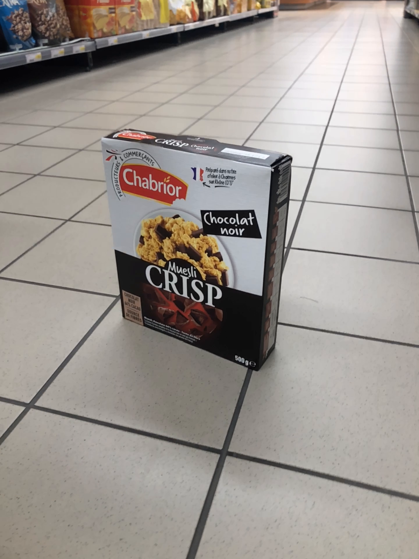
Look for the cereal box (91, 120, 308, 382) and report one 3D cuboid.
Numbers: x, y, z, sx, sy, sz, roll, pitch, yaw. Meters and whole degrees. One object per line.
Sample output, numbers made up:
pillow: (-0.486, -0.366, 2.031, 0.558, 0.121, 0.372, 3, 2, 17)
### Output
cereal box: (-0.013, -0.032, 0.484, 0.200, 0.229, 0.060, 17, 35, 27)
